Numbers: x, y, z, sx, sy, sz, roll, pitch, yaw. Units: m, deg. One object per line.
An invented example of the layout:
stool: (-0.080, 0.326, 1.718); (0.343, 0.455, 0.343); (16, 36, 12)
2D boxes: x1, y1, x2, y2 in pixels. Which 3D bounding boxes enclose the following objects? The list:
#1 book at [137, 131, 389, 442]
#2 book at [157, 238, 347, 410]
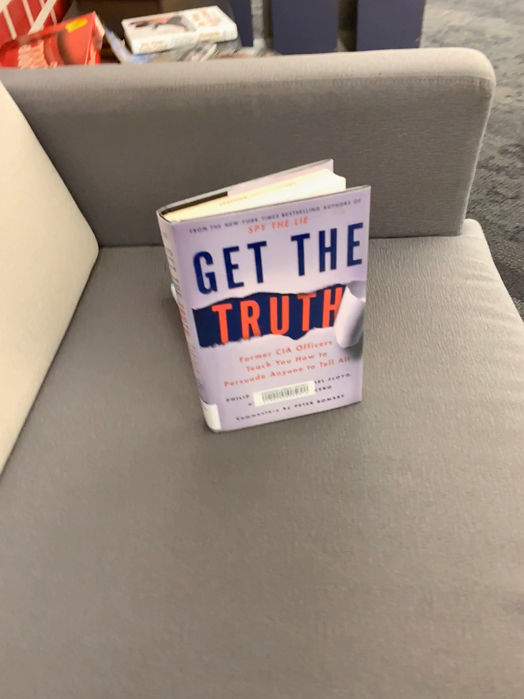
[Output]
book: (0.006, -0.042, 0.436); (0.160, 0.219, 0.070); (-13, 41, -8)
book: (-0.018, -0.040, 0.599); (0.140, 0.030, 0.201); (-20, 50, -15)
